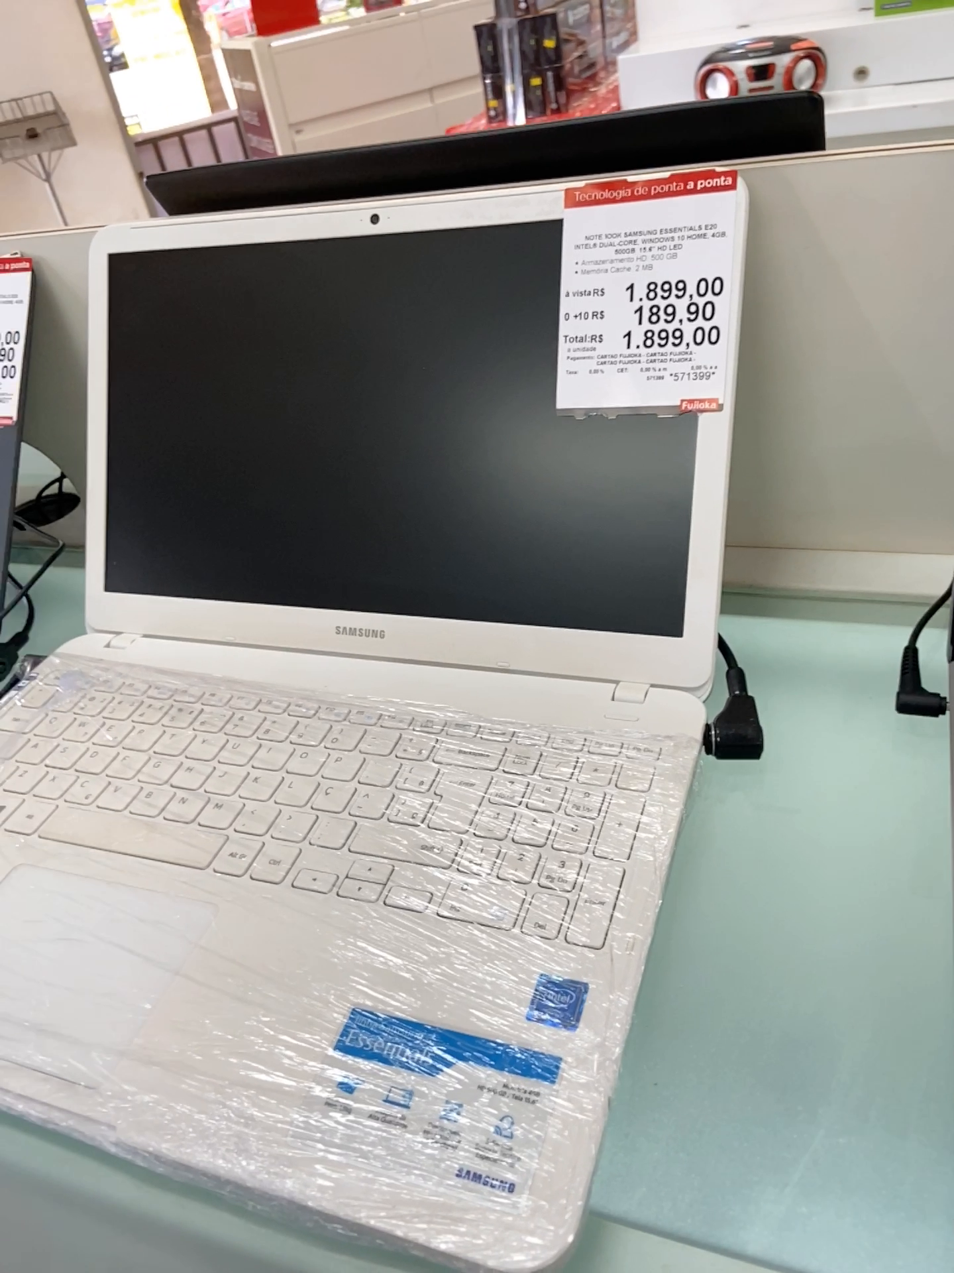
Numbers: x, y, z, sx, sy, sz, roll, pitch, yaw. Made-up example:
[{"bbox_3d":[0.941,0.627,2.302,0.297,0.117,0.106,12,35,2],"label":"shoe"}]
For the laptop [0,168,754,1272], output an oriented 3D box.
[{"bbox_3d":[-0.102,-0.029,0.427,0.375,0.192,0.383,5,39,22],"label":"laptop"}]
